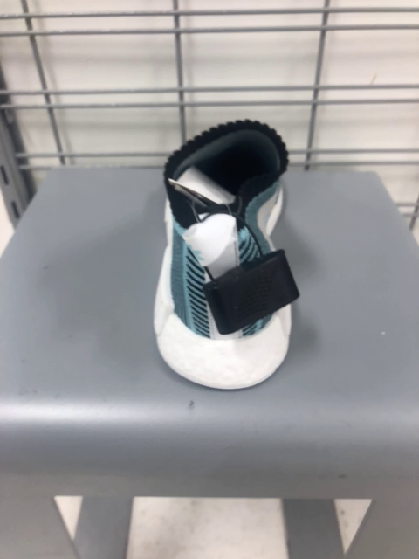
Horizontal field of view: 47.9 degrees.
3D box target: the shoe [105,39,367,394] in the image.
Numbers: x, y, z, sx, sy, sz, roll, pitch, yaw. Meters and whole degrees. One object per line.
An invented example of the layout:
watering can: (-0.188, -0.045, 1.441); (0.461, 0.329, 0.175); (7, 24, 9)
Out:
shoe: (0.018, -0.077, 0.372); (0.120, 0.129, 0.302); (2, 41, 1)
